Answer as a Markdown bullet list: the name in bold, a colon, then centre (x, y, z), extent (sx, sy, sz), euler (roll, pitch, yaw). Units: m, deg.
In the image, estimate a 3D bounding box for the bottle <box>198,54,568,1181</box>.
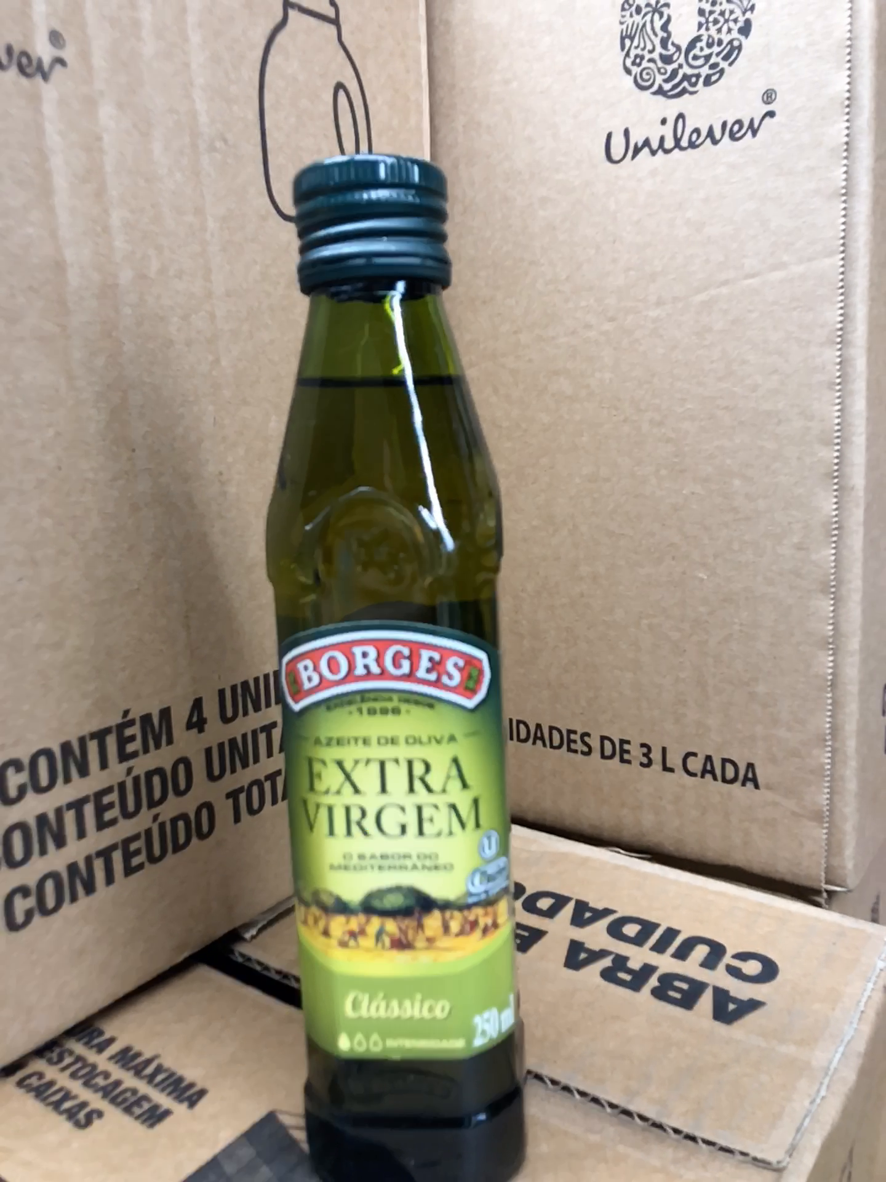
- **bottle**: centre (-0.008, 0.016, 0.206), extent (0.060, 0.219, 0.060), euler (-1, 10, 0)
